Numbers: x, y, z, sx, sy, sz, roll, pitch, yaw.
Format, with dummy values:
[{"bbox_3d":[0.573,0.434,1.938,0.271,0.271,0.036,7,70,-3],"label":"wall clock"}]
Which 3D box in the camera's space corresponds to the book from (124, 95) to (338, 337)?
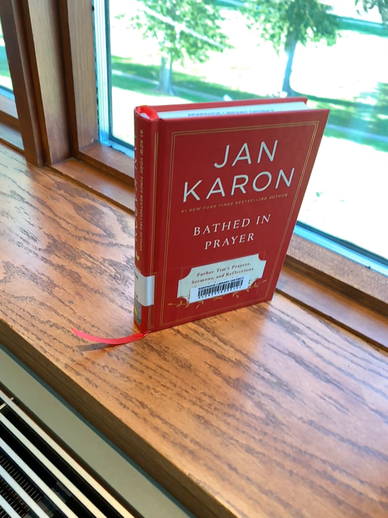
[{"bbox_3d":[0.020,-0.027,0.297,0.135,0.169,0.028,-12,41,-21],"label":"book"}]
